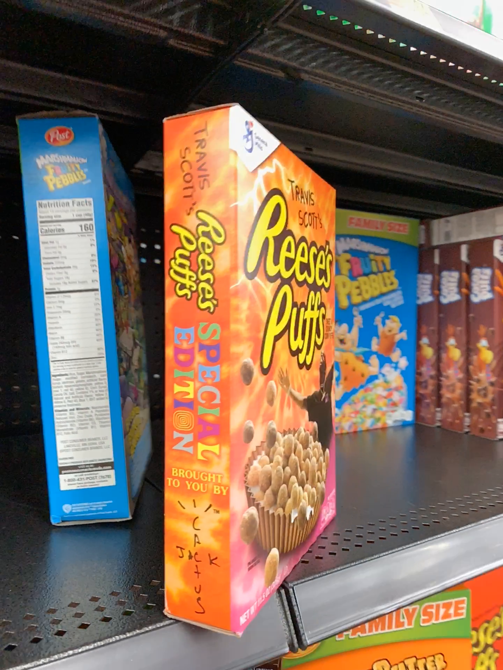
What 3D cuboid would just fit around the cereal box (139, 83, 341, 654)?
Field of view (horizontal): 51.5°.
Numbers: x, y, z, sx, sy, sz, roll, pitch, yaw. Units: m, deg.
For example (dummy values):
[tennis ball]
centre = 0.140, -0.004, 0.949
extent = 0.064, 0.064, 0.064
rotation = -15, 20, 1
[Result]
[cereal box]
centre = 0.008, 0.015, 0.365
extent = 0.050, 0.290, 0.200
rotation = -1, 1, 26
